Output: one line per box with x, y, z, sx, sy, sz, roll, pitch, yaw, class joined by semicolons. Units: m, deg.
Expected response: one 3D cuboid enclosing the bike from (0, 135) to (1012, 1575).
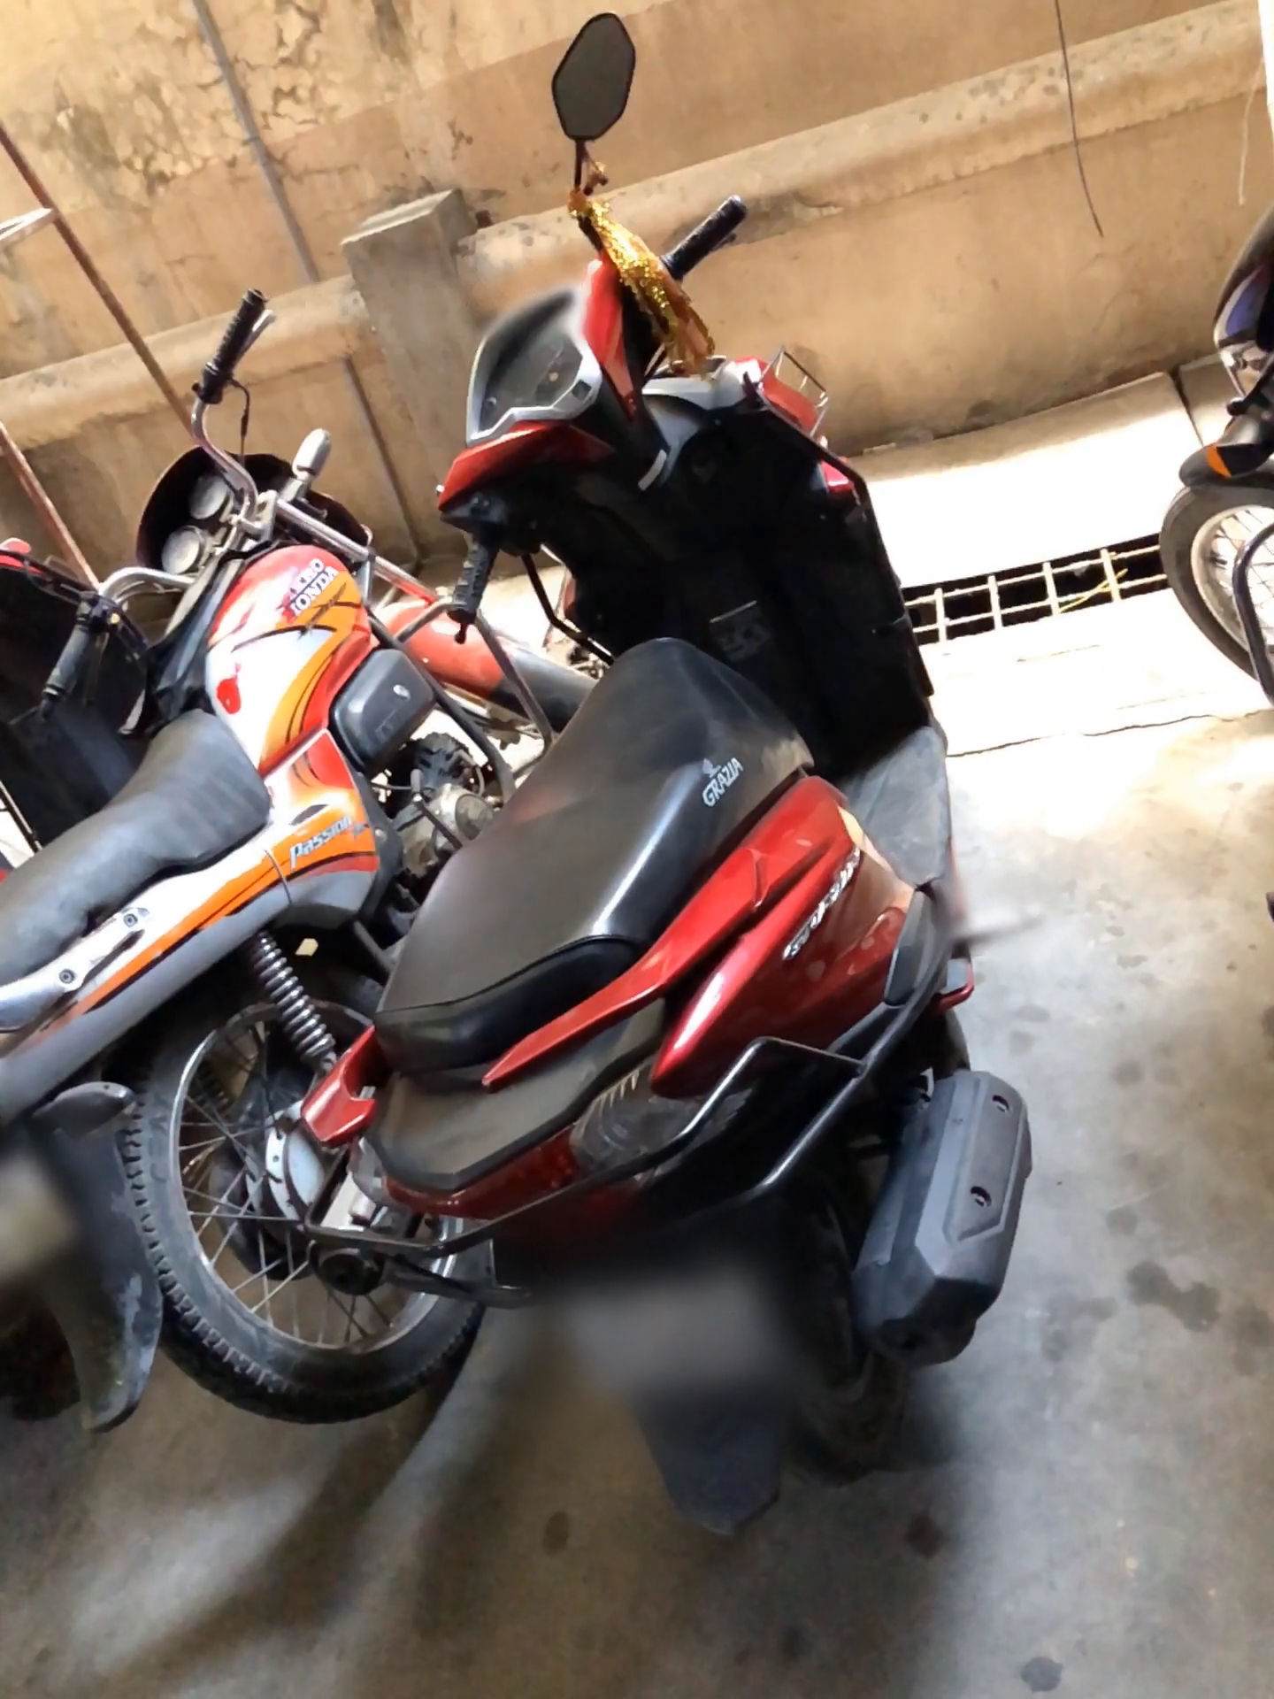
-0.006;-0.071;1.832;0.630;1.140;1.445;-11;36;15;bike

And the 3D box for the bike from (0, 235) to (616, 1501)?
-0.690;-0.078;2.151;0.839;1.089;1.657;-11;34;15;bike
